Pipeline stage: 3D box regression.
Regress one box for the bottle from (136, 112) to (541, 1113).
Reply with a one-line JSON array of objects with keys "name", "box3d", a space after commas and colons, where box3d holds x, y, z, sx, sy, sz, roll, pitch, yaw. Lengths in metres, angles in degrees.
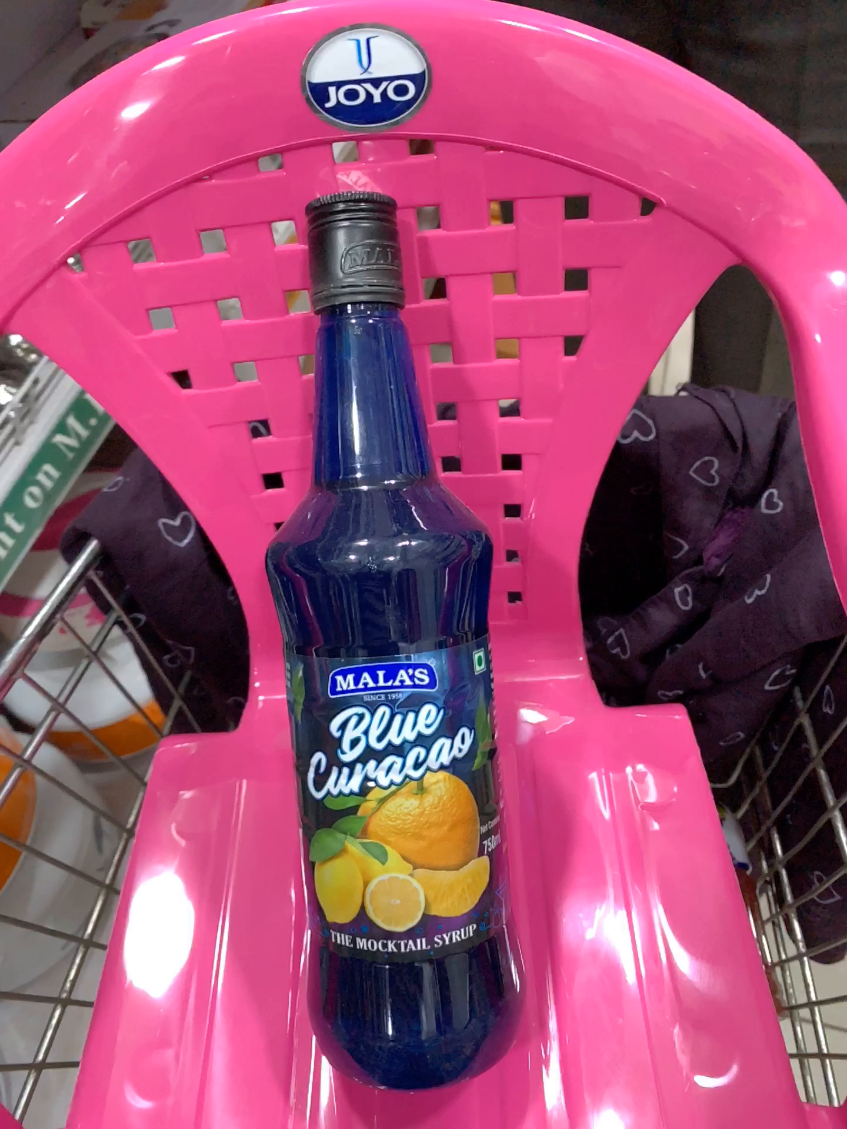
[{"name": "bottle", "box3d": [-0.017, 0.019, 0.275, 0.080, 0.270, 0.080, -5, 9, 1]}]
